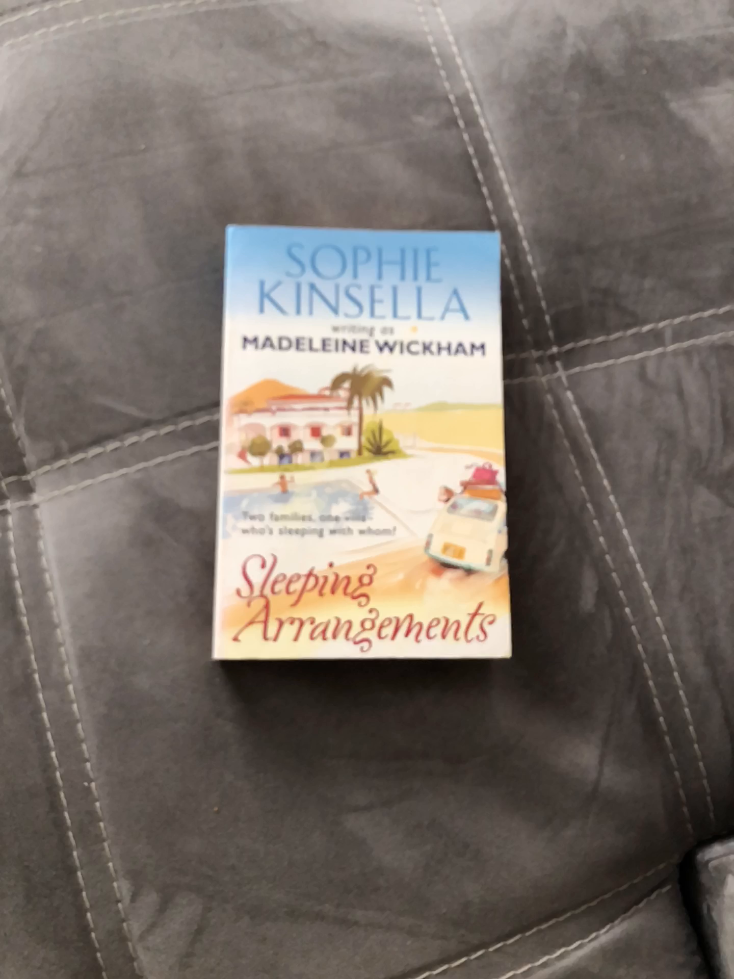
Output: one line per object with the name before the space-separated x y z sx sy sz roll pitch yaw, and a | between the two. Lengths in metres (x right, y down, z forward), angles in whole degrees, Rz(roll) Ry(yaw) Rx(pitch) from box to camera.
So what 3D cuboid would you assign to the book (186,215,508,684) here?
book | -0.008 -0.018 0.363 0.130 0.030 0.200 1 80 -6
